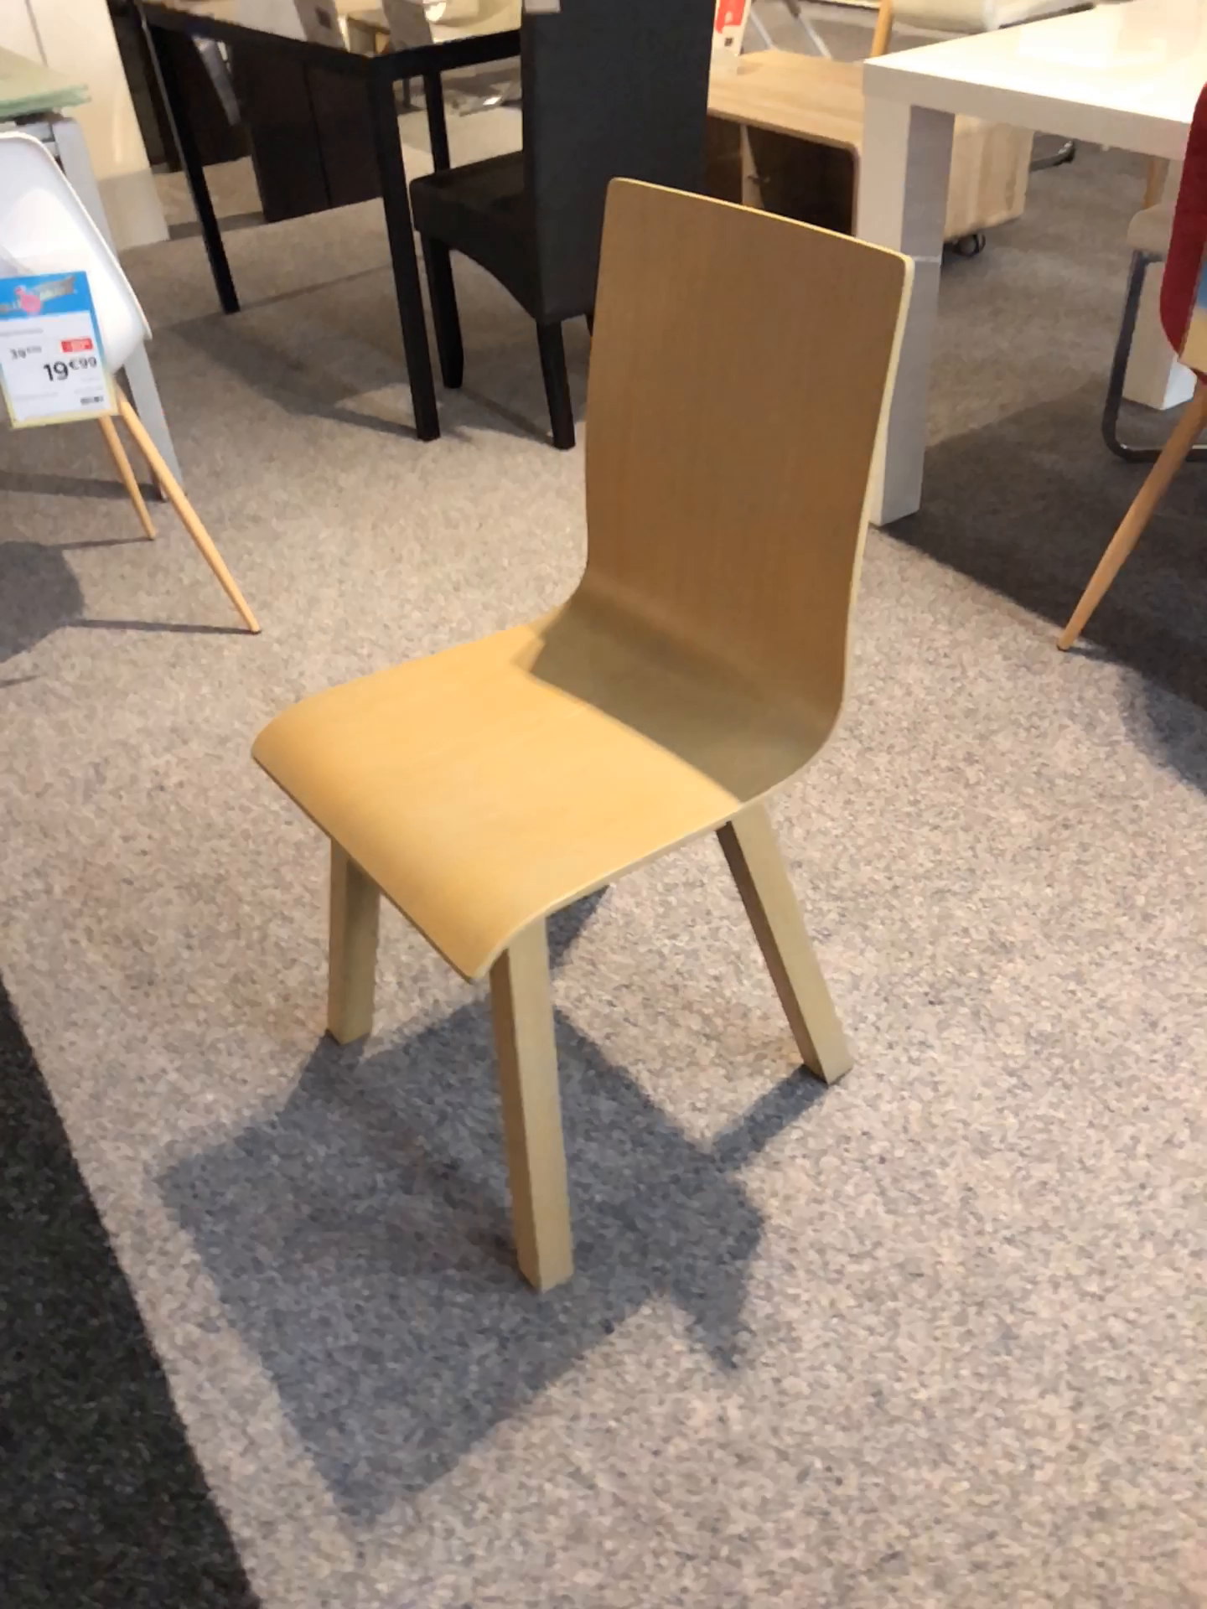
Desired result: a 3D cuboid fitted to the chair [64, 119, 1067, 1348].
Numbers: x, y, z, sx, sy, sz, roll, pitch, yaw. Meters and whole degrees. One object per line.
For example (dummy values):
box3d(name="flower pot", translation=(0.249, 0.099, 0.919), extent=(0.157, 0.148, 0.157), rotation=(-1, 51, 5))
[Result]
box3d(name="chair", translation=(-0.023, -0.070, 1.181), extent=(0.492, 0.835, 0.521), rotation=(-28, 44, -26))
